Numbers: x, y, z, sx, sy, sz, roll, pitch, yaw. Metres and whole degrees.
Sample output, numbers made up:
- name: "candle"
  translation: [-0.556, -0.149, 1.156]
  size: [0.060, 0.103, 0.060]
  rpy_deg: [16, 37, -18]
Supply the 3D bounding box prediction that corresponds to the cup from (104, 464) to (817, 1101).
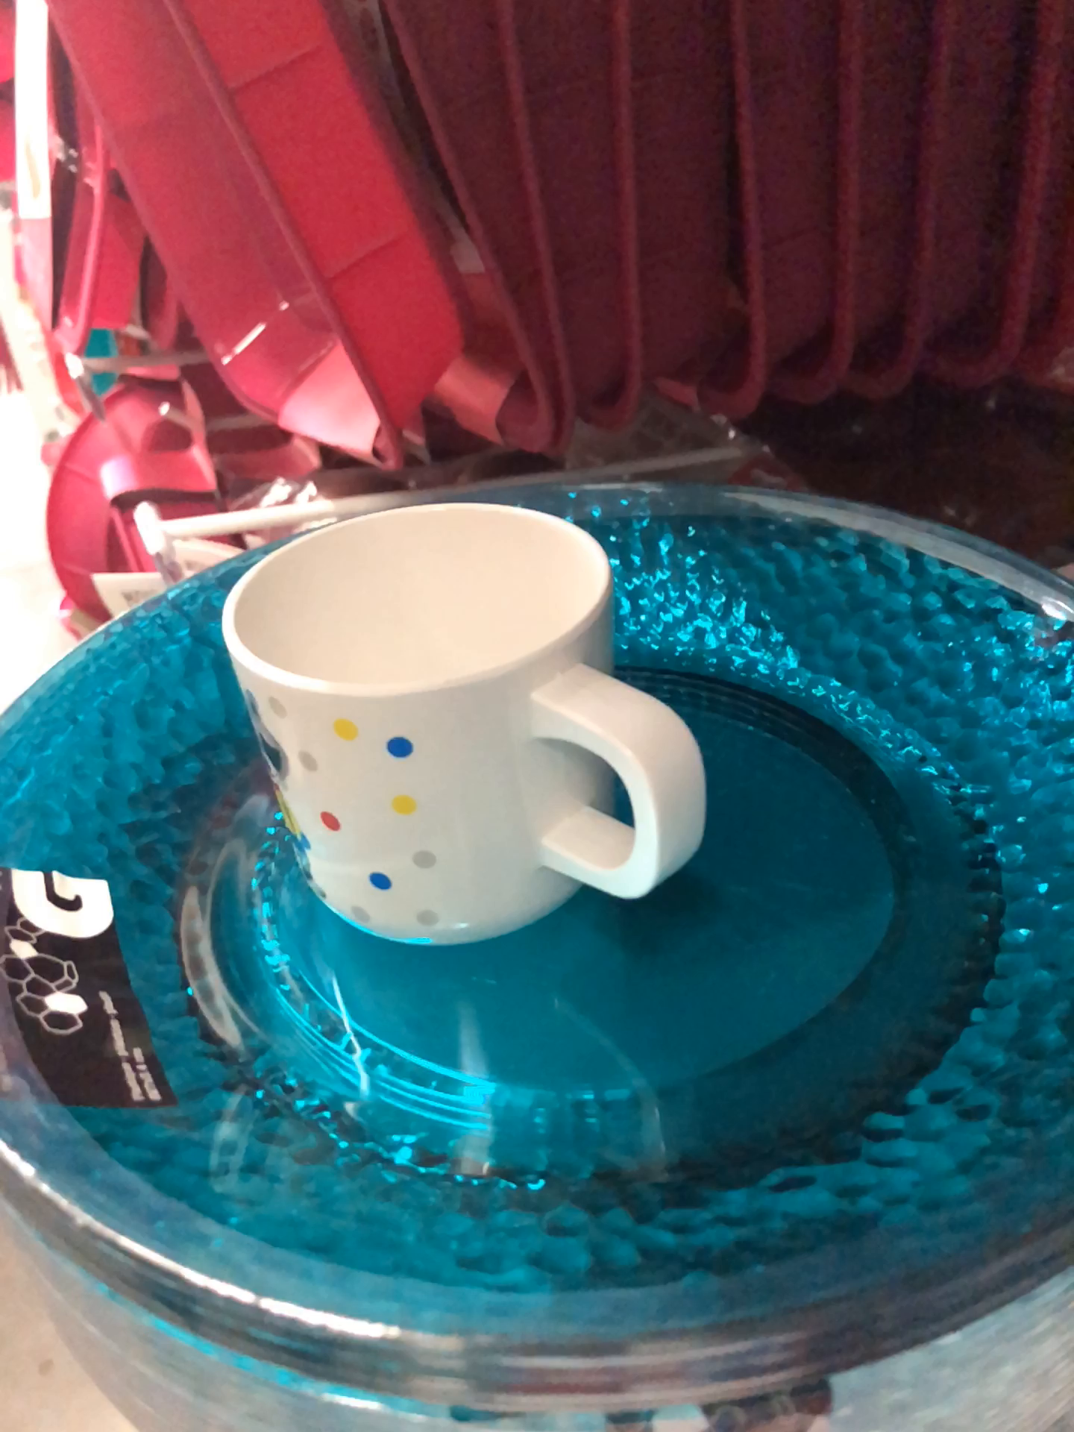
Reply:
- name: "cup"
  translation: [-0.015, 0.002, 0.237]
  size: [0.109, 0.059, 0.081]
  rpy_deg: [26, 44, 38]
